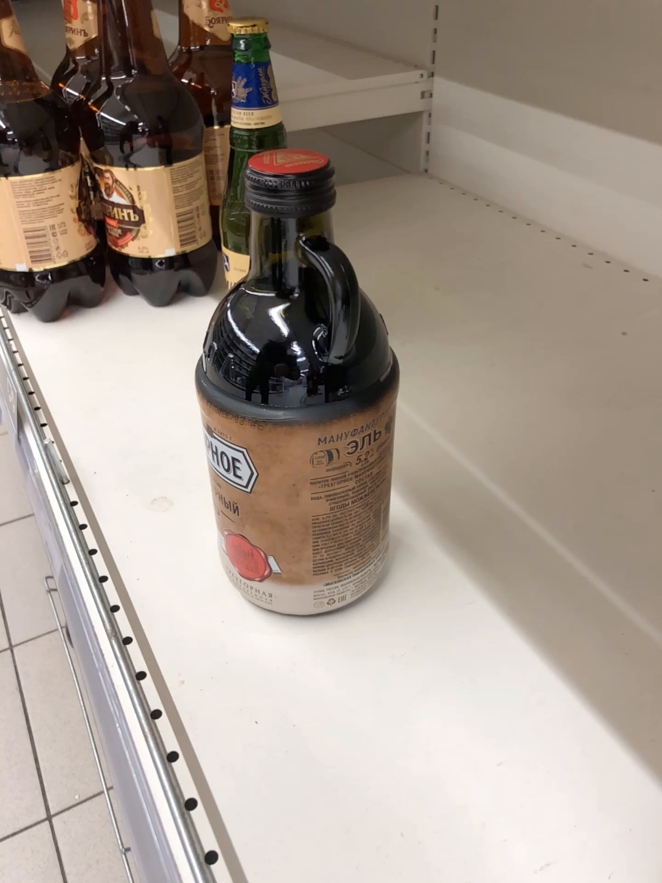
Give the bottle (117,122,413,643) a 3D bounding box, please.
[{"bbox_3d":[-0.032,-0.025,0.371,0.100,0.225,0.111,-11,38,-14],"label":"bottle"}]
